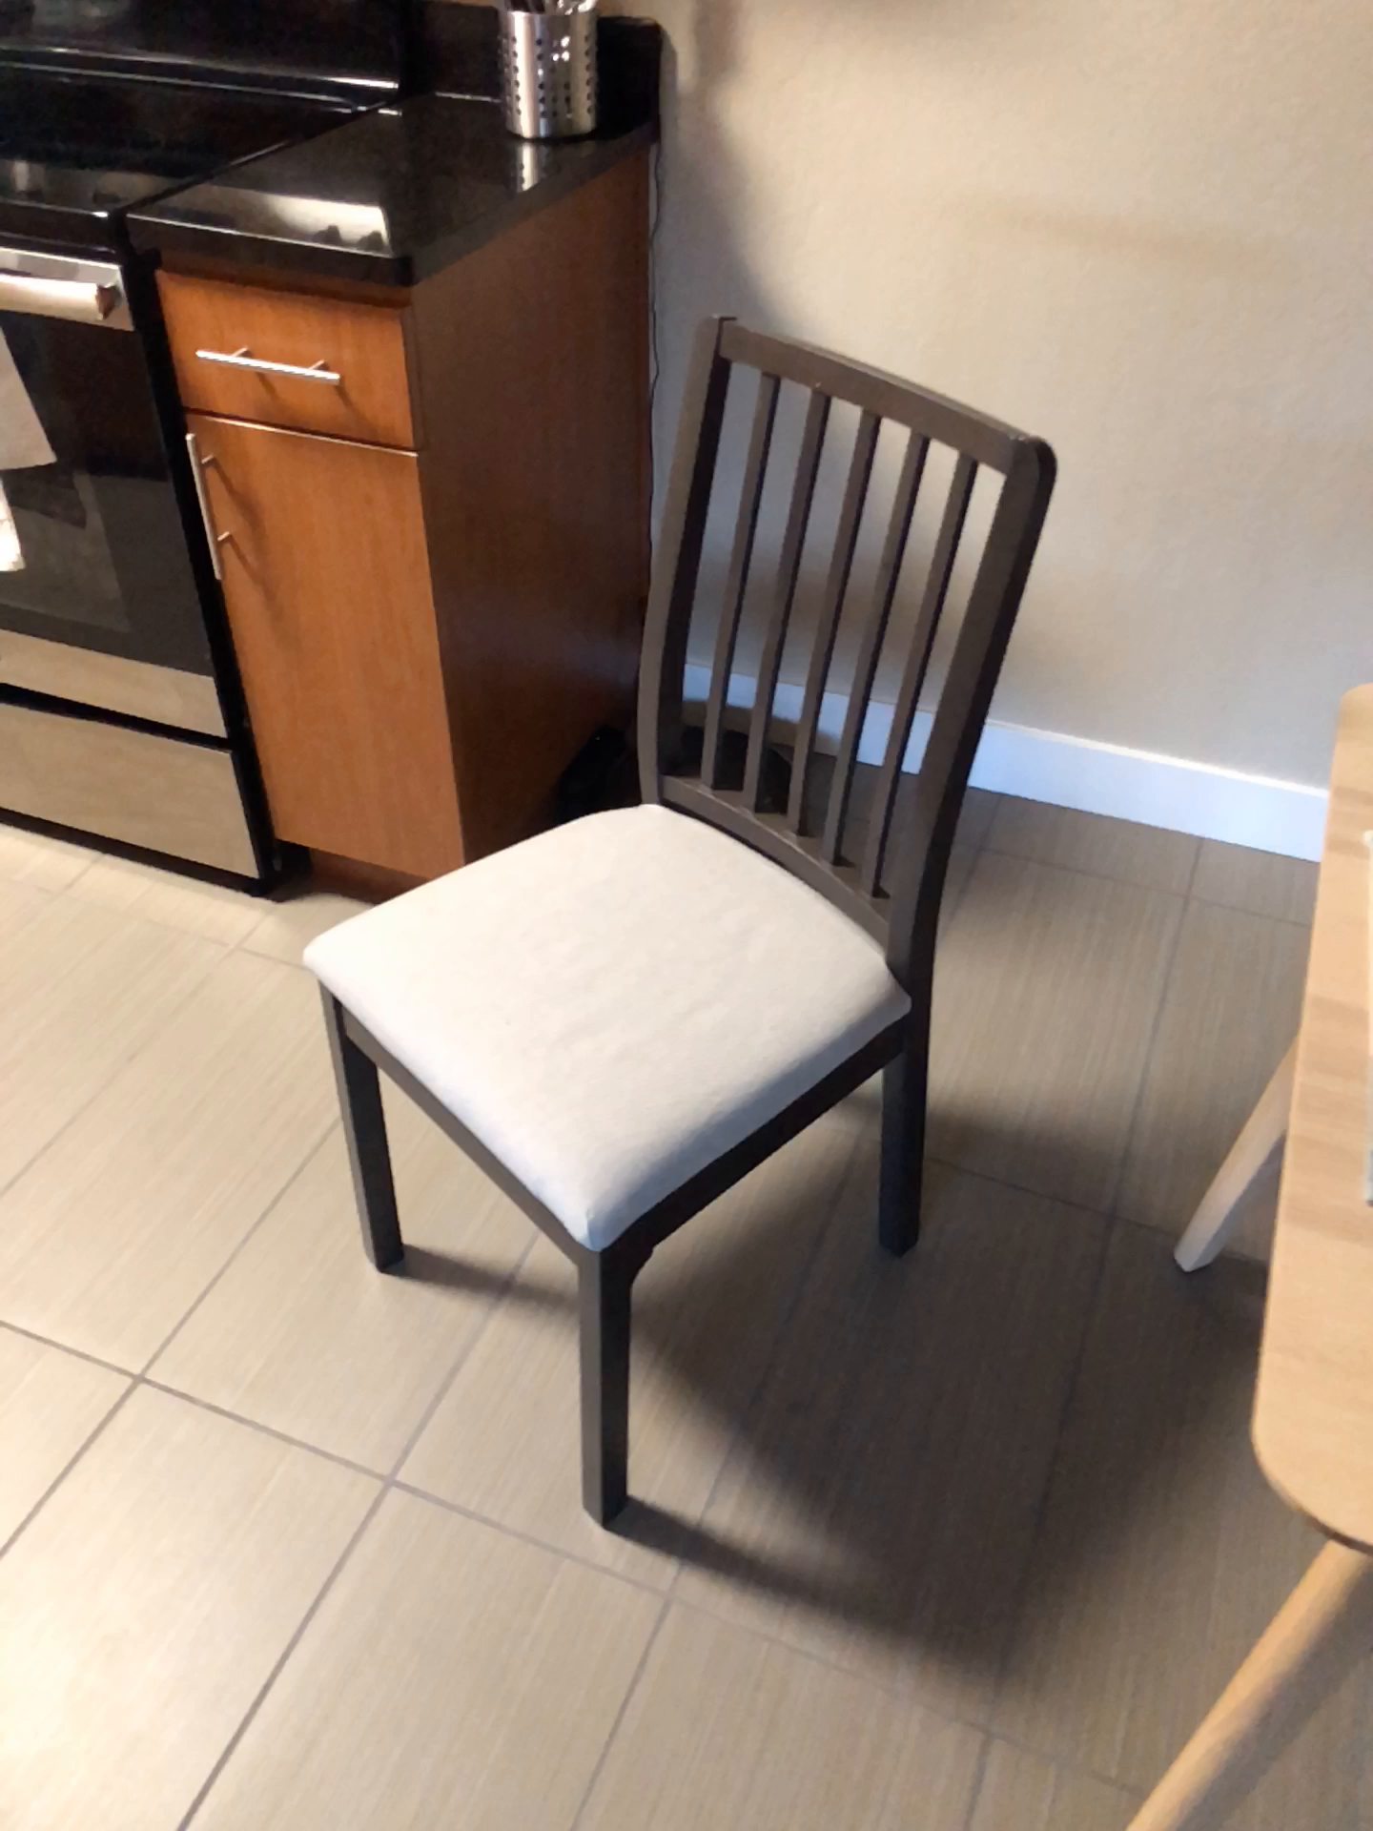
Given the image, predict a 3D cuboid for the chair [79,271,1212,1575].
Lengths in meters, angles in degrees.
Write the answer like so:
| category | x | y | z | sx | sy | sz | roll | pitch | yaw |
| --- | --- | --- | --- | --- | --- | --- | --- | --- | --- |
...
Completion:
| category | x | y | z | sx | sy | sz | roll | pitch | yaw |
| --- | --- | --- | --- | --- | --- | --- | --- | --- | --- |
| chair | -0.041 | -0.016 | 1.365 | 0.591 | 0.846 | 0.582 | -29 | 48 | -31 |
